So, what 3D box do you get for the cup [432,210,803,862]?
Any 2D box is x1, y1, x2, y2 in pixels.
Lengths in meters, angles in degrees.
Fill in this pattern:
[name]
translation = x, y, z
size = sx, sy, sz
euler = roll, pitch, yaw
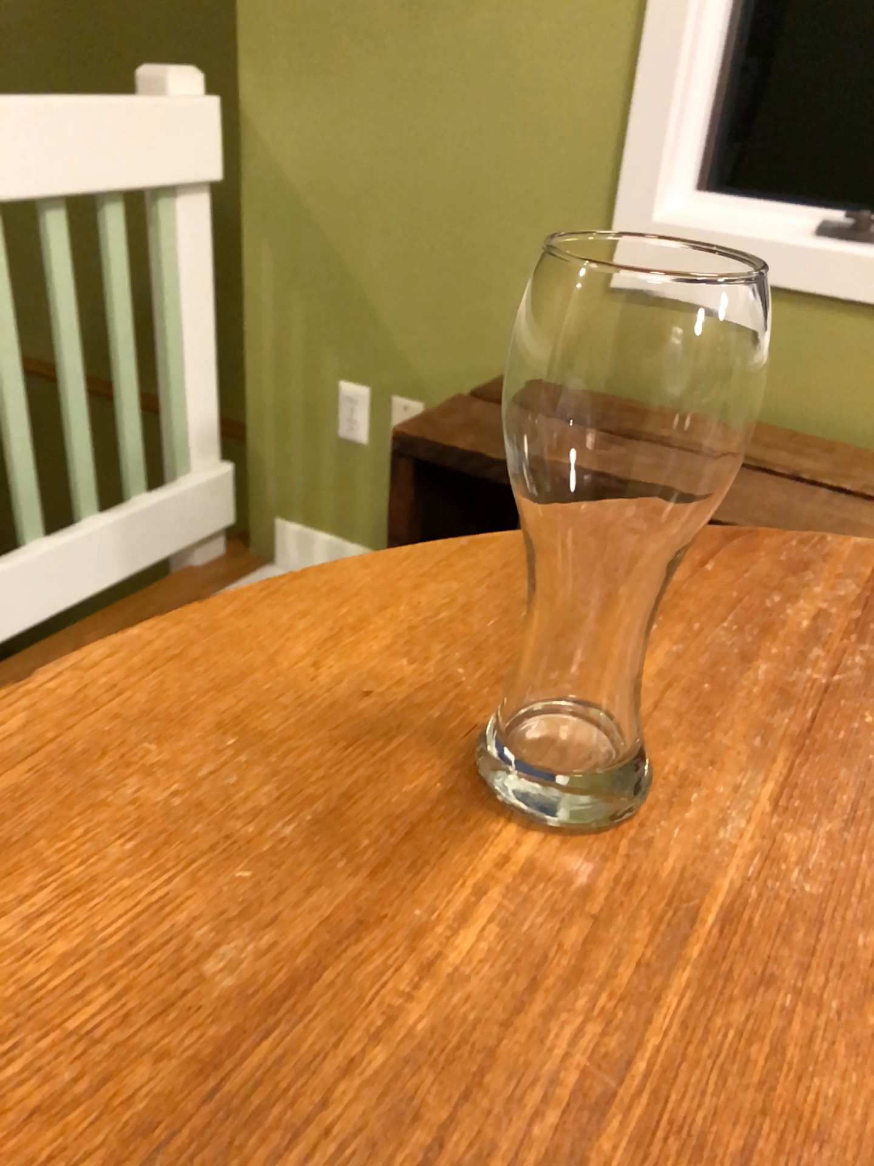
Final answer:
[cup]
translation = 0.063, -0.016, 0.374
size = 0.093, 0.222, 0.088
euler = 4, 28, -2
